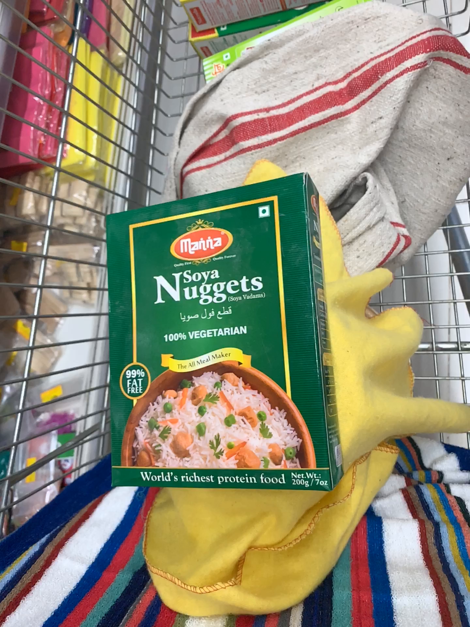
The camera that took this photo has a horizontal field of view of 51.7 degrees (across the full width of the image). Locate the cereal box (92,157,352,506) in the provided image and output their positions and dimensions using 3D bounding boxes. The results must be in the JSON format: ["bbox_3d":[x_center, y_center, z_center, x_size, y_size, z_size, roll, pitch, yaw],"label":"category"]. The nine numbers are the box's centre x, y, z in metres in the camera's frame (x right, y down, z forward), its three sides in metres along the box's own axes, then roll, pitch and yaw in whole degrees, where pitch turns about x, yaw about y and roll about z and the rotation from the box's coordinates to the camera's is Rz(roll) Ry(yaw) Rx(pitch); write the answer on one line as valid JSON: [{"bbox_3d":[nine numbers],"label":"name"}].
[{"bbox_3d":[-0.013,0.016,0.333,0.160,0.060,0.200,-6,81,21],"label":"cereal box"}]
